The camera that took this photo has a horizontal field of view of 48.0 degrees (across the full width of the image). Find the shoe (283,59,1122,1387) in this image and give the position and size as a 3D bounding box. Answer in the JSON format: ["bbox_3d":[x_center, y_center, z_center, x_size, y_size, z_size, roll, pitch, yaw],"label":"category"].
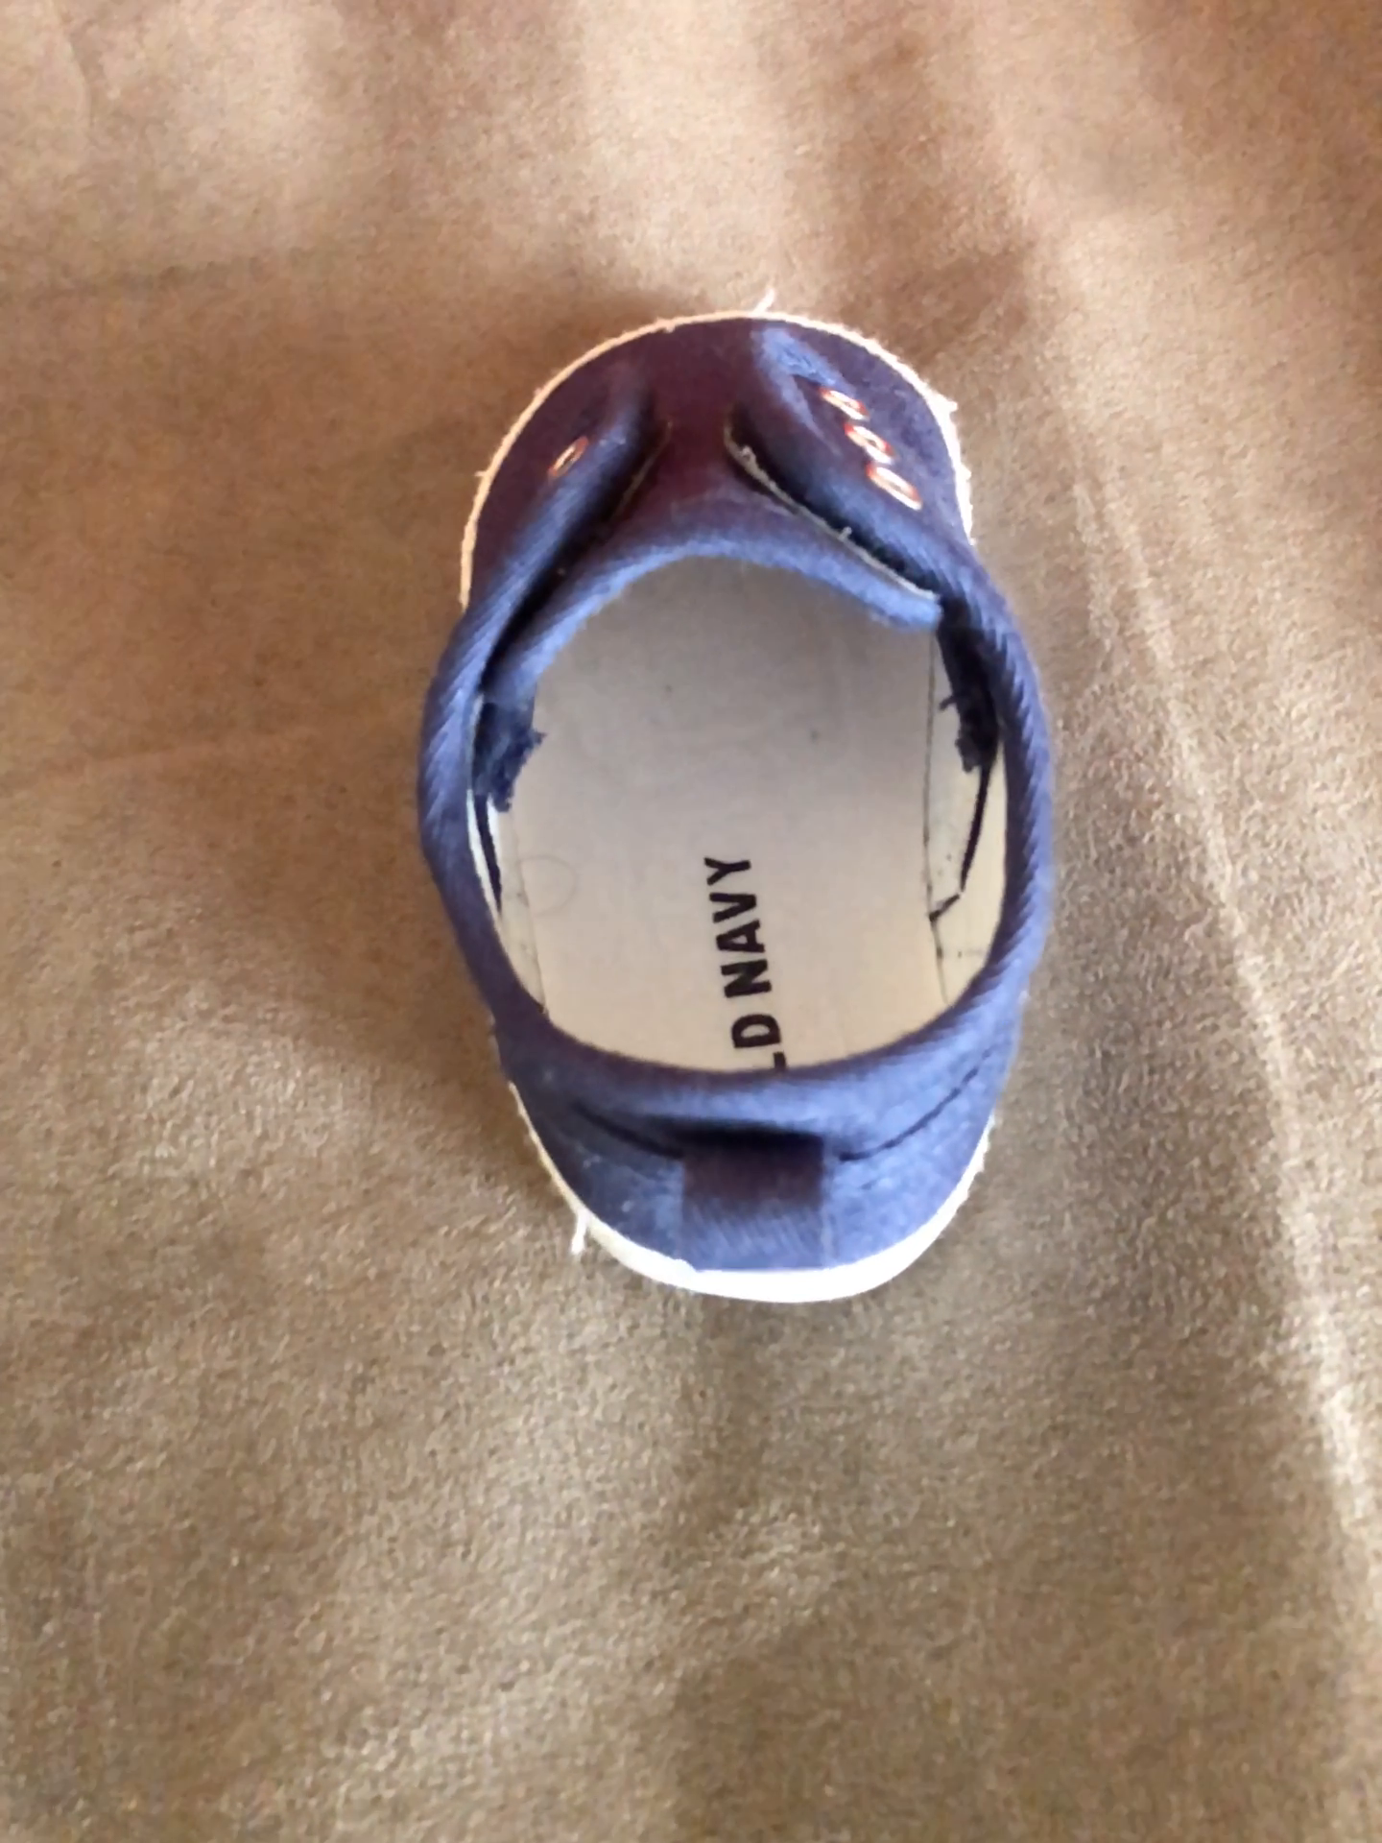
[{"bbox_3d":[0.000,-0.013,0.157,0.060,0.060,0.110,-8,72,8],"label":"shoe"}]
